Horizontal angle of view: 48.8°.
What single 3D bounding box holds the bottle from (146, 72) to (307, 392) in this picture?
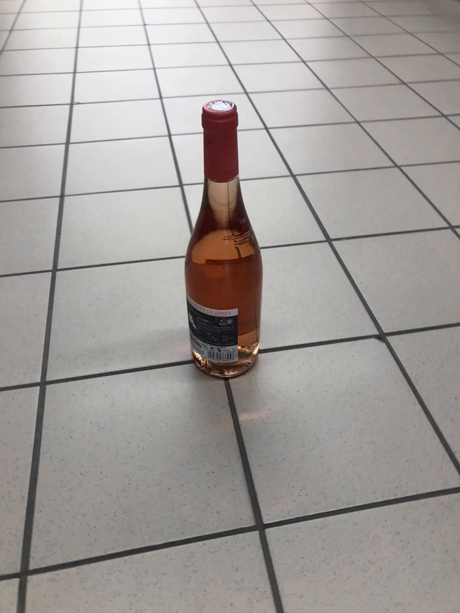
[{"bbox_3d":[-0.002,-0.056,0.481,0.090,0.278,0.091,0,42,0],"label":"bottle"}]
